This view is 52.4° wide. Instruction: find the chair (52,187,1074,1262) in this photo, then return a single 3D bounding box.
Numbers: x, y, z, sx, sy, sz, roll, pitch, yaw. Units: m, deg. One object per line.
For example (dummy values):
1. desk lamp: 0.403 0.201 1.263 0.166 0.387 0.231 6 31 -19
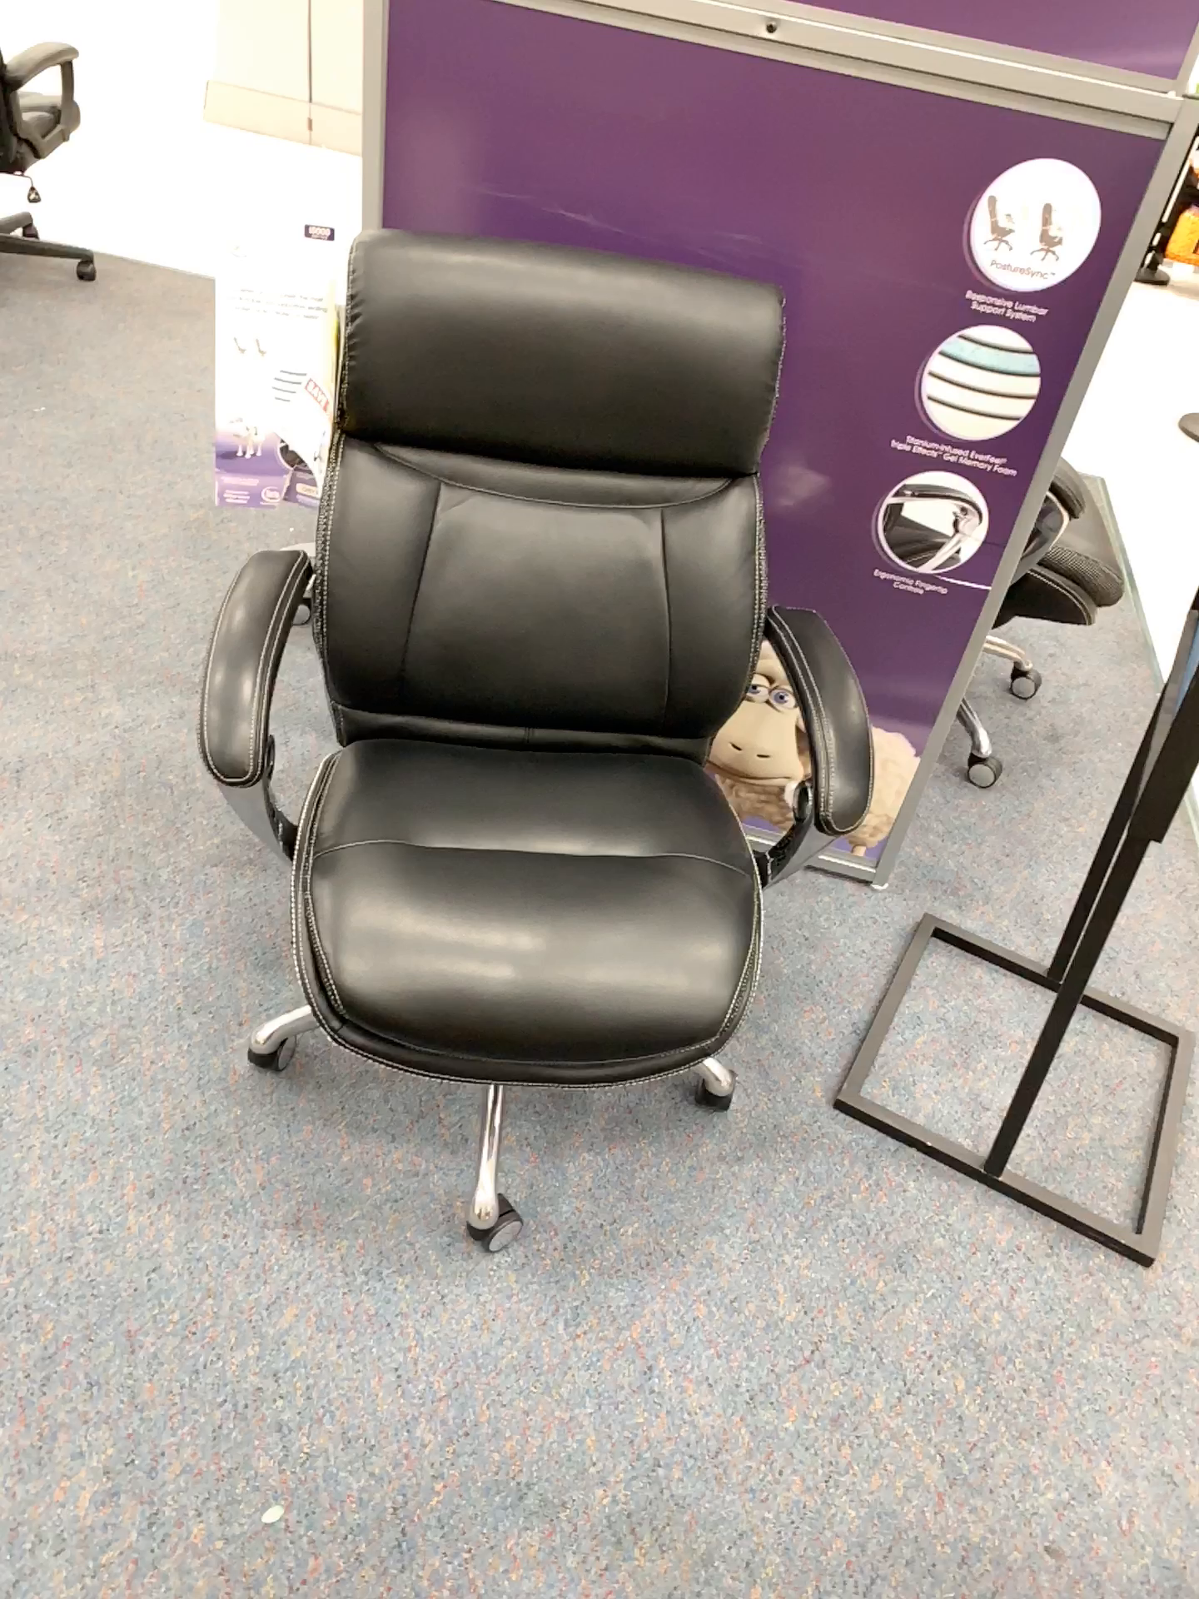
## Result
1. chair: -0.087 -0.072 1.473 0.738 0.946 0.785 5 40 -7
